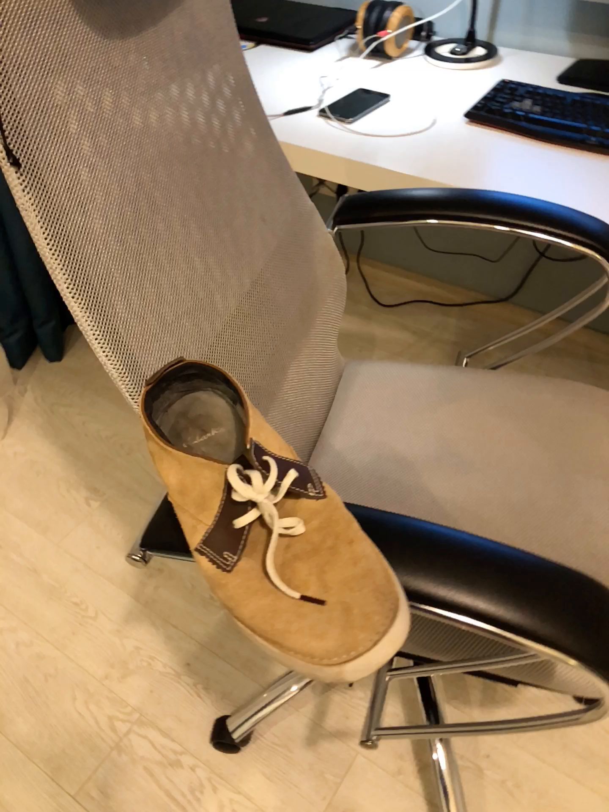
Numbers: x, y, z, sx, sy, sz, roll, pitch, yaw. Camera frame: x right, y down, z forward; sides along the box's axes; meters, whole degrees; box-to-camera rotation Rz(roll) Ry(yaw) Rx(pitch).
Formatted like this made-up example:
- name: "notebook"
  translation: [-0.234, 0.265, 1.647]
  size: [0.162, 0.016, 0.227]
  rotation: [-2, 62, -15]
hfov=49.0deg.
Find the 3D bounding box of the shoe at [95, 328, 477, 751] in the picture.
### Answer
- name: "shoe"
  translation: [-0.032, 0.071, 0.499]
  size: [0.120, 0.079, 0.311]
  rotation: [-26, 49, -23]
